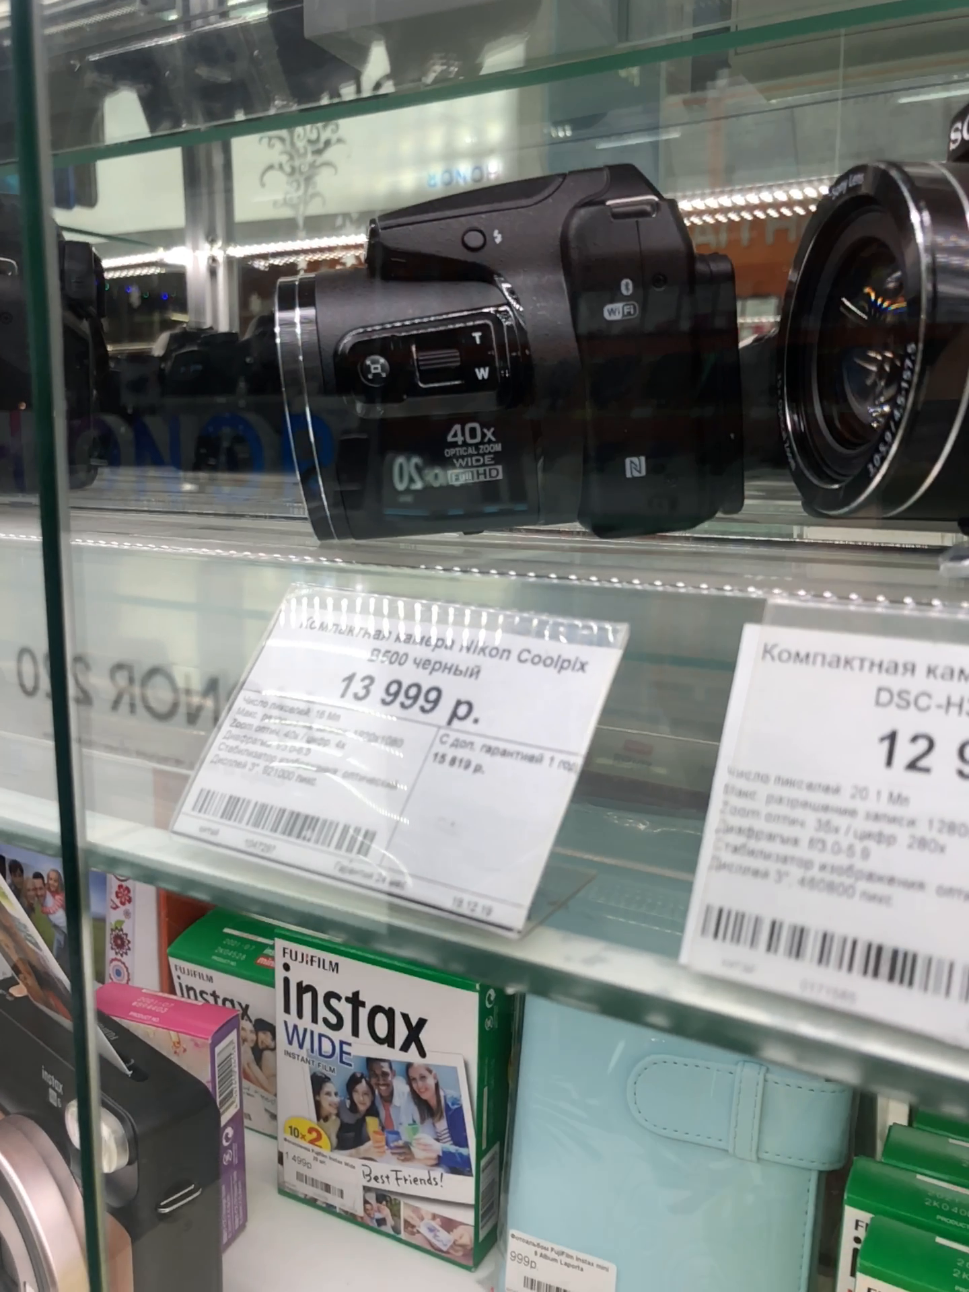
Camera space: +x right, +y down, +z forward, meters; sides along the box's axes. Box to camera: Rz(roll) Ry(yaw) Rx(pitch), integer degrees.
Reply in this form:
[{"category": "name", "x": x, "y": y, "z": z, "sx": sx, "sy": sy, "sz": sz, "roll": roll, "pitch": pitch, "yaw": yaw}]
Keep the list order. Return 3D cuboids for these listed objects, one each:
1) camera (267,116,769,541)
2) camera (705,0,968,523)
[{"category": "camera", "x": 0.002, "y": -0.071, "z": 0.268, "sx": 0.098, "sy": 0.080, "sz": 0.110, "roll": -1, "pitch": 10, "yaw": -6}, {"category": "camera", "x": 0.110, "y": -0.071, "z": 0.215, "sx": 0.098, "sy": 0.085, "sz": 0.114, "roll": -4, "pitch": 8, "yaw": -5}]
